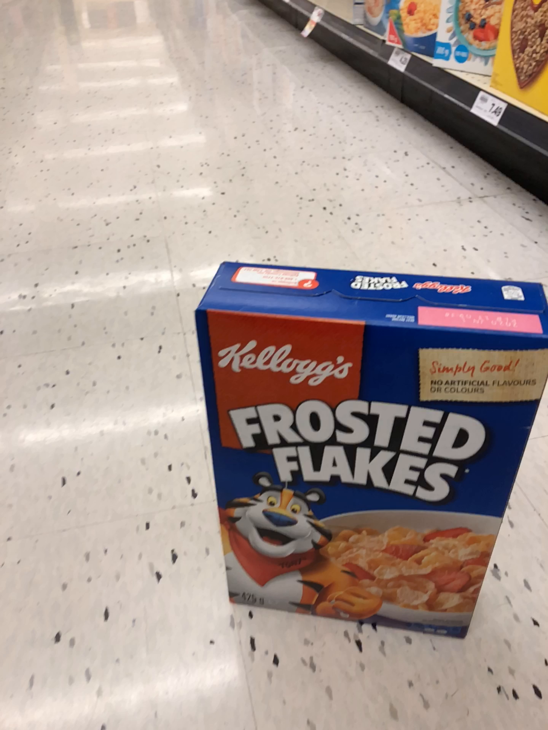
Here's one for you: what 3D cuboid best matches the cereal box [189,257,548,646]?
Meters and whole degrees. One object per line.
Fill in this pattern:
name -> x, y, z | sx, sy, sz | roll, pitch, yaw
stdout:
cereal box -> 0.062, 0.076, 0.427 | 0.200, 0.288, 0.070 | 5, 38, 9
